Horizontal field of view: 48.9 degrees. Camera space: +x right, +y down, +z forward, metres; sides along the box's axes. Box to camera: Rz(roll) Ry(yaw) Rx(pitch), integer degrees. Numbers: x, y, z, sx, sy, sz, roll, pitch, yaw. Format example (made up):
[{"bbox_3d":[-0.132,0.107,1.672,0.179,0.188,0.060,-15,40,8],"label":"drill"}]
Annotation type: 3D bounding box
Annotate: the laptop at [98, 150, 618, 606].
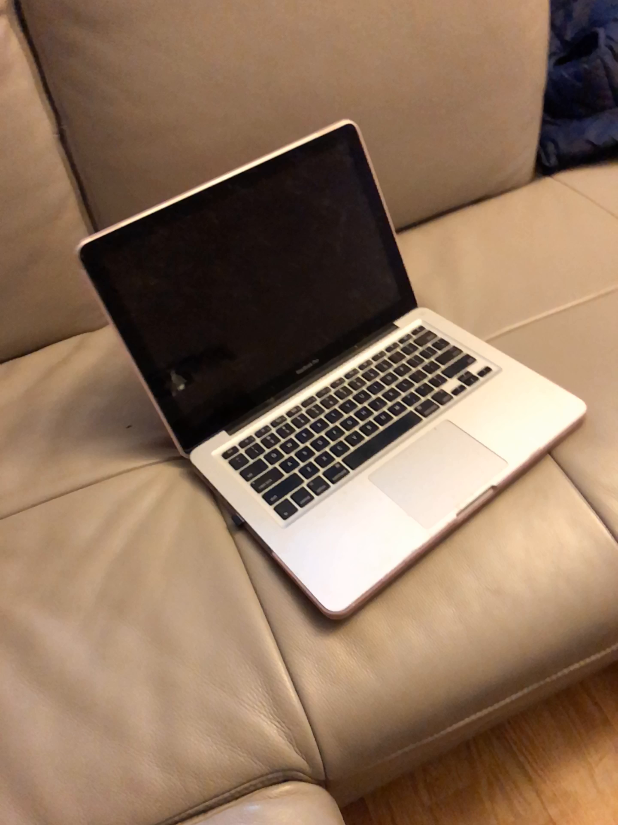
[{"bbox_3d":[0.040,-0.060,0.600,0.305,0.177,0.307,-33,49,-22],"label":"laptop"}]
